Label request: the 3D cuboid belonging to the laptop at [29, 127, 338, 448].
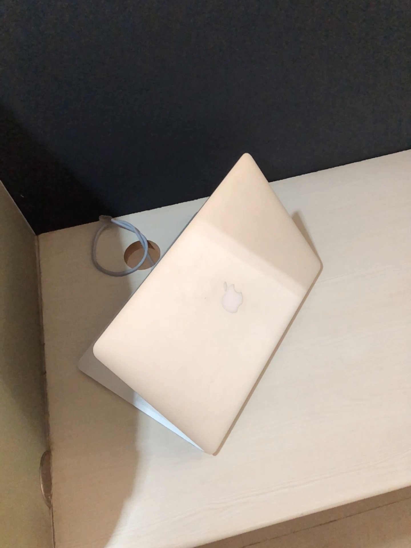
[{"bbox_3d":[-0.008,0.010,0.643,0.235,0.198,0.344,26,63,19],"label":"laptop"}]
